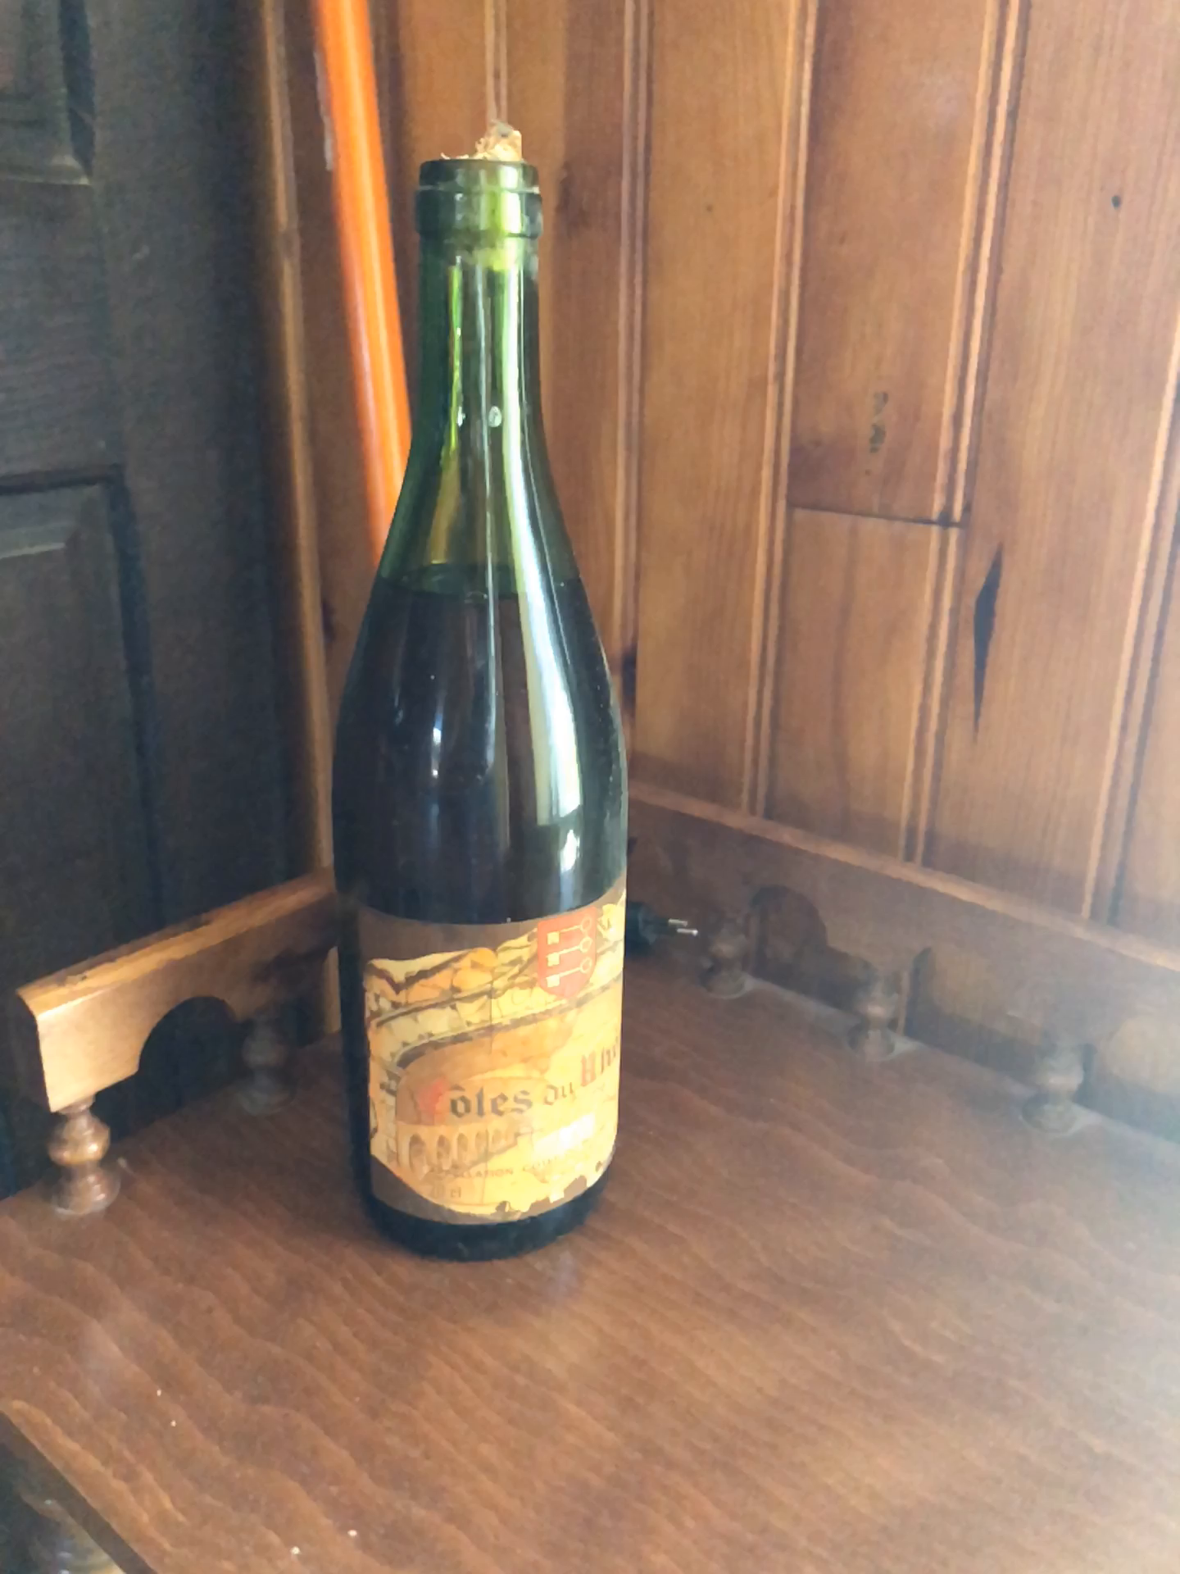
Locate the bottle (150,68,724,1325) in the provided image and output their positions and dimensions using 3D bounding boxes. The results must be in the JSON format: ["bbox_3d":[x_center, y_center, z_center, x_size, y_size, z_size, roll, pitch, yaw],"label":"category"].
[{"bbox_3d":[-0.036,-0.019,0.337,0.090,0.279,0.090,1,21,0],"label":"bottle"}]
